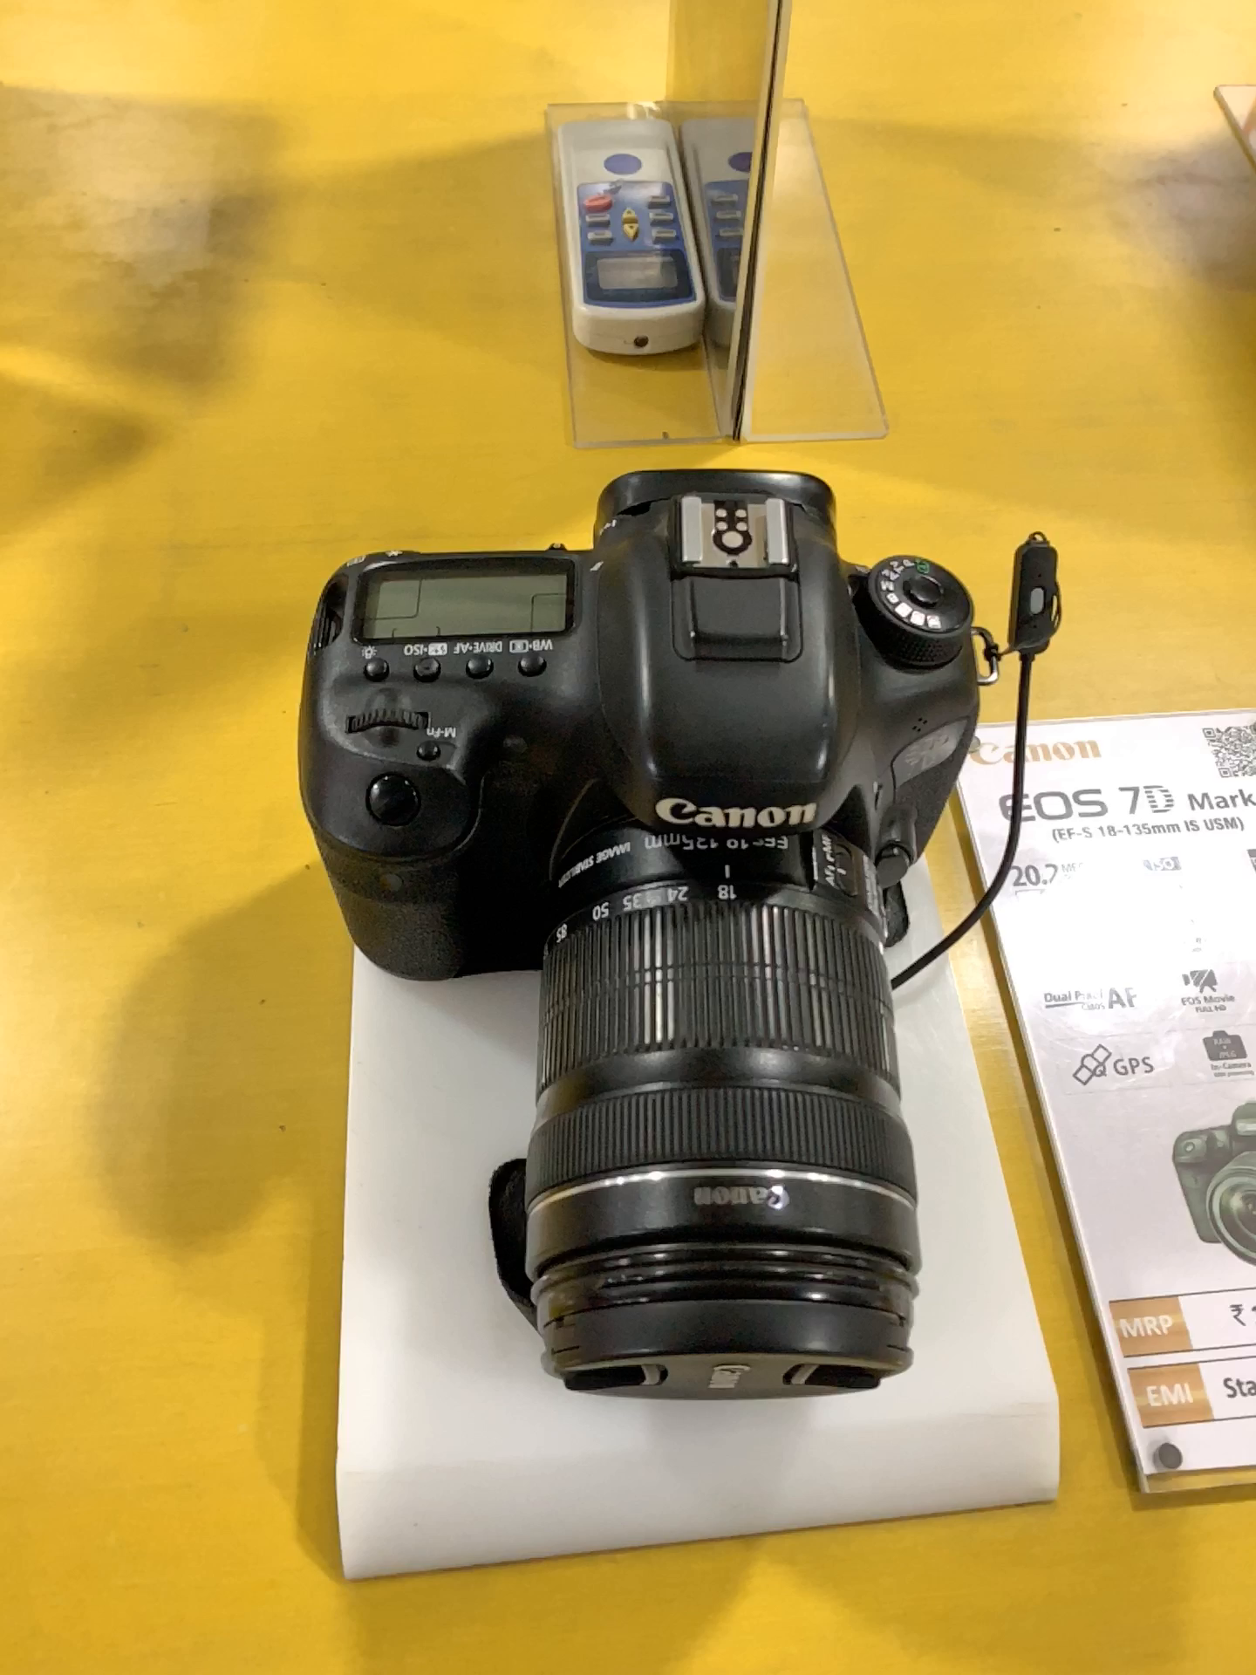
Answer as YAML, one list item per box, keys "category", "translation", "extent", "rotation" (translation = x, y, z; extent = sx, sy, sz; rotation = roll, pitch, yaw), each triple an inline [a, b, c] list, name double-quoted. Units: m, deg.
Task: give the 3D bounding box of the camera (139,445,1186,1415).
- category: "camera"
  translation: [0.002, 0.022, 0.265]
  extent: [0.140, 0.120, 0.160]
  rotation: [-1, 59, -2]
